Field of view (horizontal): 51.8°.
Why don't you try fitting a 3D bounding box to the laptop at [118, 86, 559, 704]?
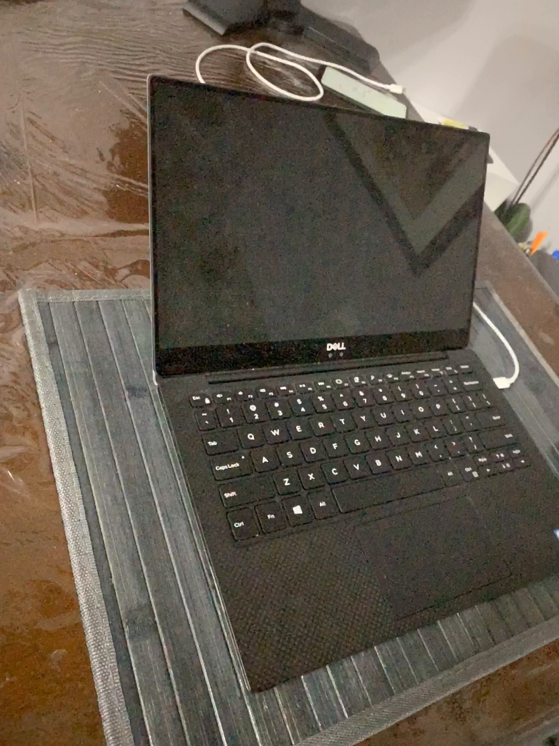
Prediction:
[{"bbox_3d":[0.082,-0.016,0.365,0.282,0.129,0.298,-6,56,-30],"label":"laptop"}]
